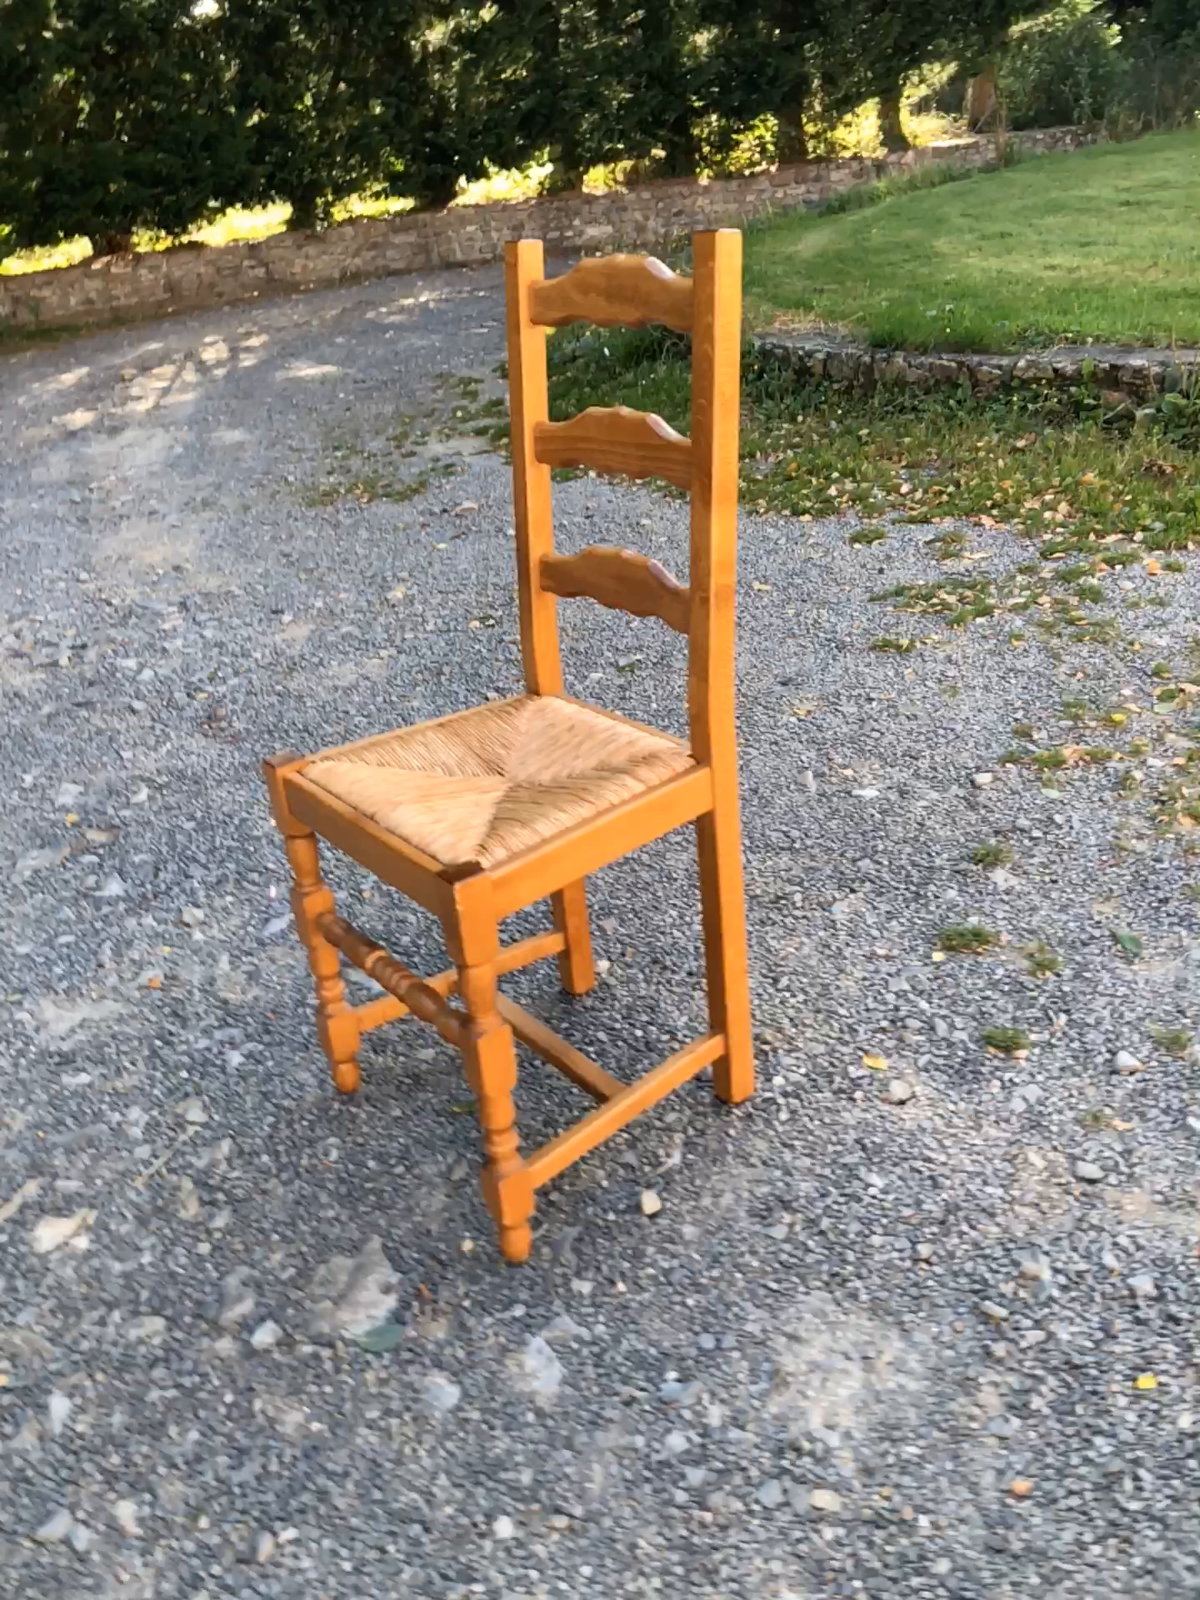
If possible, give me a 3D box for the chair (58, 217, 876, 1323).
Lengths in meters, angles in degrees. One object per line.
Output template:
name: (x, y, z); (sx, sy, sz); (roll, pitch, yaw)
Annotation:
chair: (-0.097, -0.083, 1.347); (0.522, 0.885, 0.531); (-23, 30, -32)
